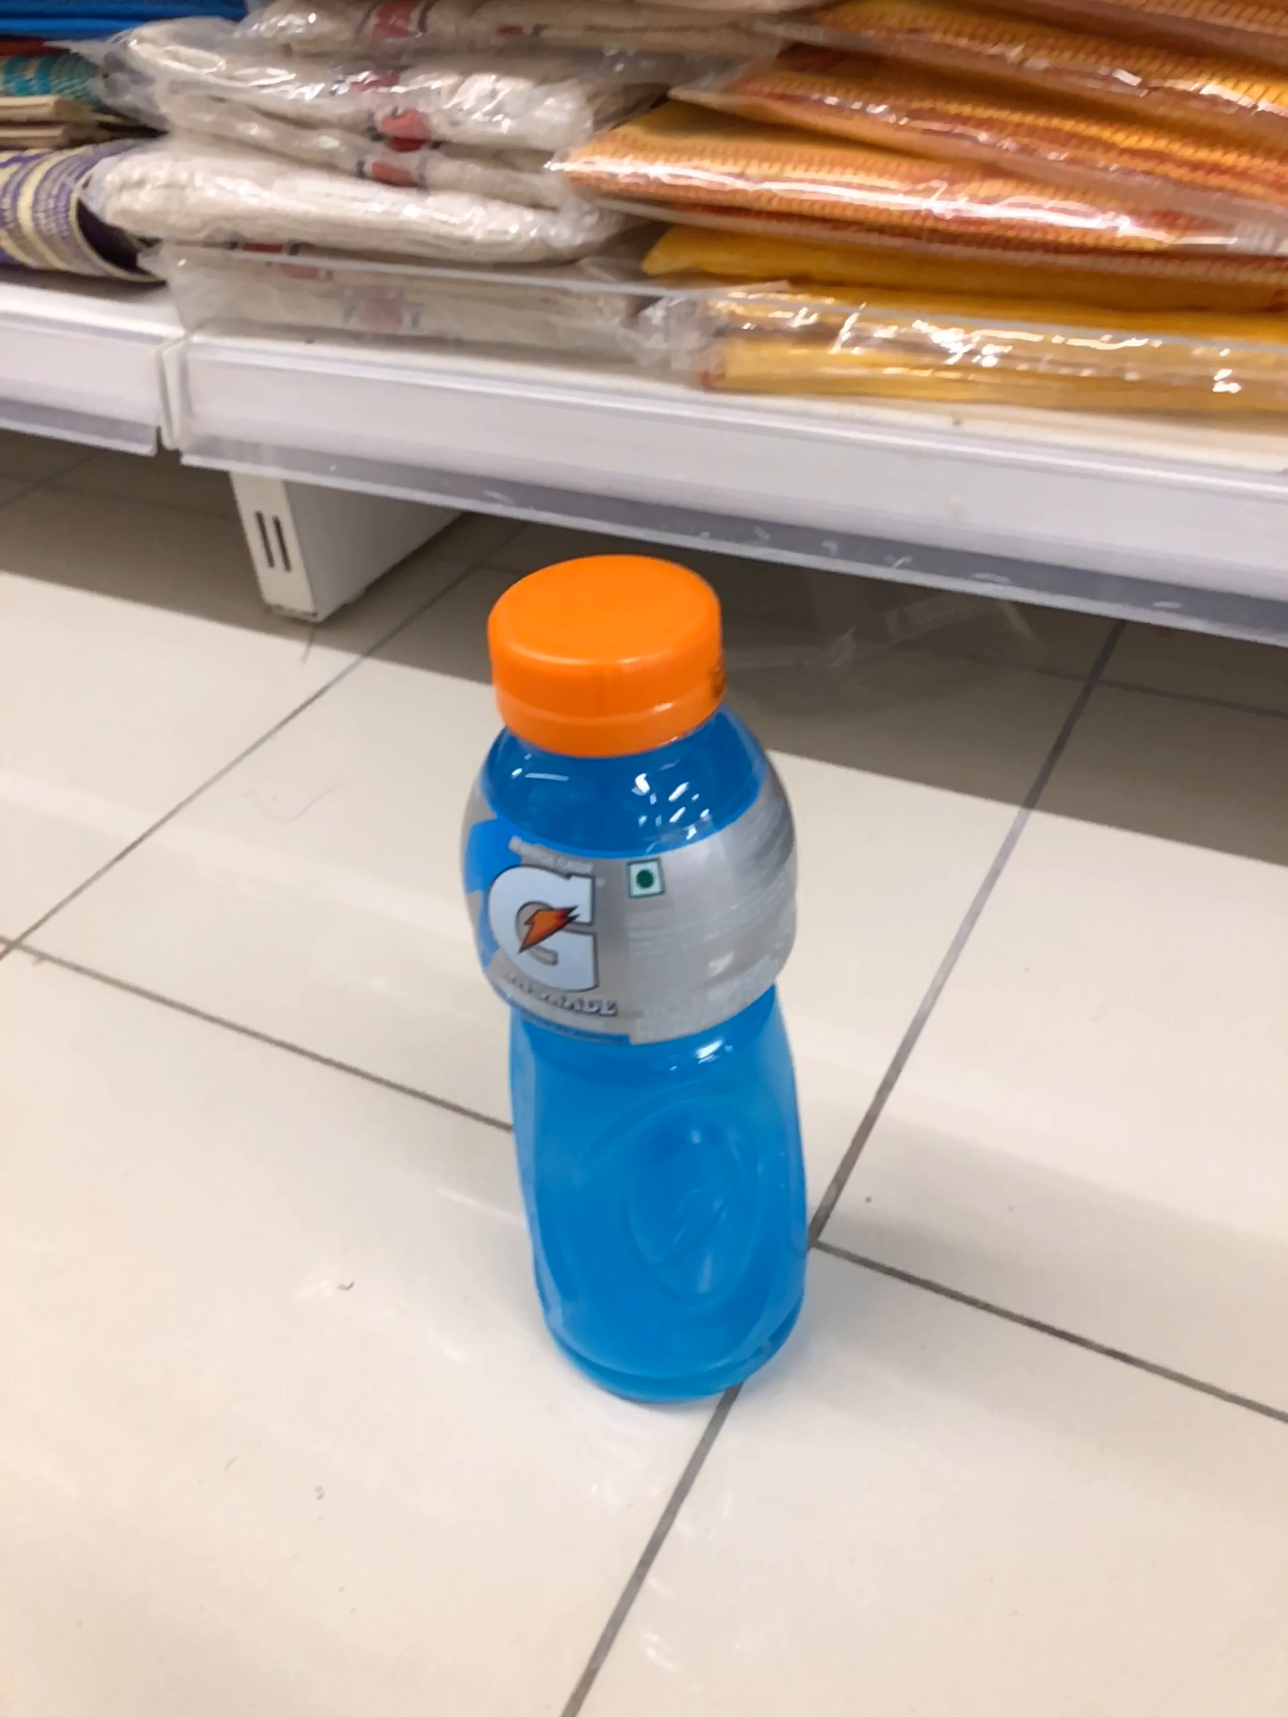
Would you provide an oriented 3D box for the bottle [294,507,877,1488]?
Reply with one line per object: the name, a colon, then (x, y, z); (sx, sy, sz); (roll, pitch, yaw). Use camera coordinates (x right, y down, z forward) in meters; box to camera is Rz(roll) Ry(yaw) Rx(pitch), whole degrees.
bottle: (-0.002, 0.036, 0.299); (0.070, 0.189, 0.070); (-4, 38, 3)
